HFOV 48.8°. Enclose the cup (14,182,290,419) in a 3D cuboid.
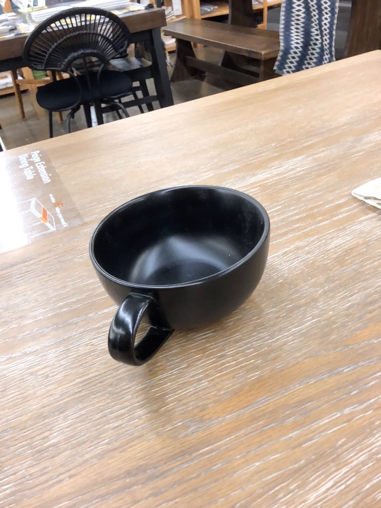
[{"bbox_3d":[-0.011,0.014,0.314,0.138,0.054,0.175,7,38,21],"label":"cup"}]
